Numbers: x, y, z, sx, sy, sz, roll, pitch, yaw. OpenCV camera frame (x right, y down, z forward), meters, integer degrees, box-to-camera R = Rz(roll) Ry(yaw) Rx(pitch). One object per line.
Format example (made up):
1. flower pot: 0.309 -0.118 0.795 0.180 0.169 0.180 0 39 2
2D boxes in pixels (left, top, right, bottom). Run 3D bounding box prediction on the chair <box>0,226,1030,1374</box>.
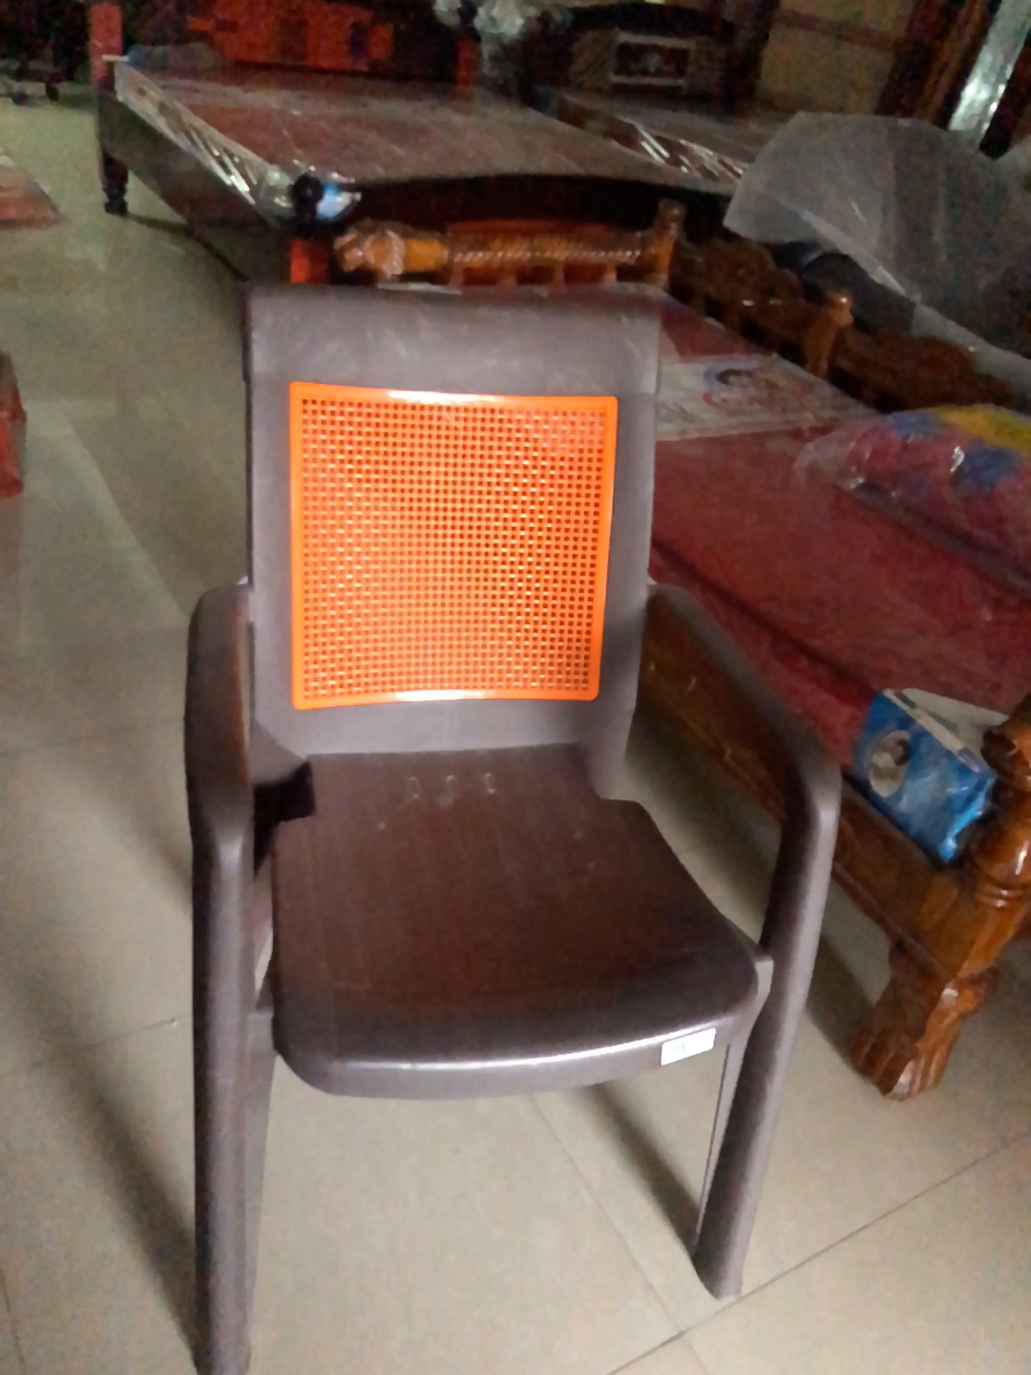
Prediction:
1. chair: -0.087 0.130 1.179 0.711 0.935 0.713 -2 36 -17
